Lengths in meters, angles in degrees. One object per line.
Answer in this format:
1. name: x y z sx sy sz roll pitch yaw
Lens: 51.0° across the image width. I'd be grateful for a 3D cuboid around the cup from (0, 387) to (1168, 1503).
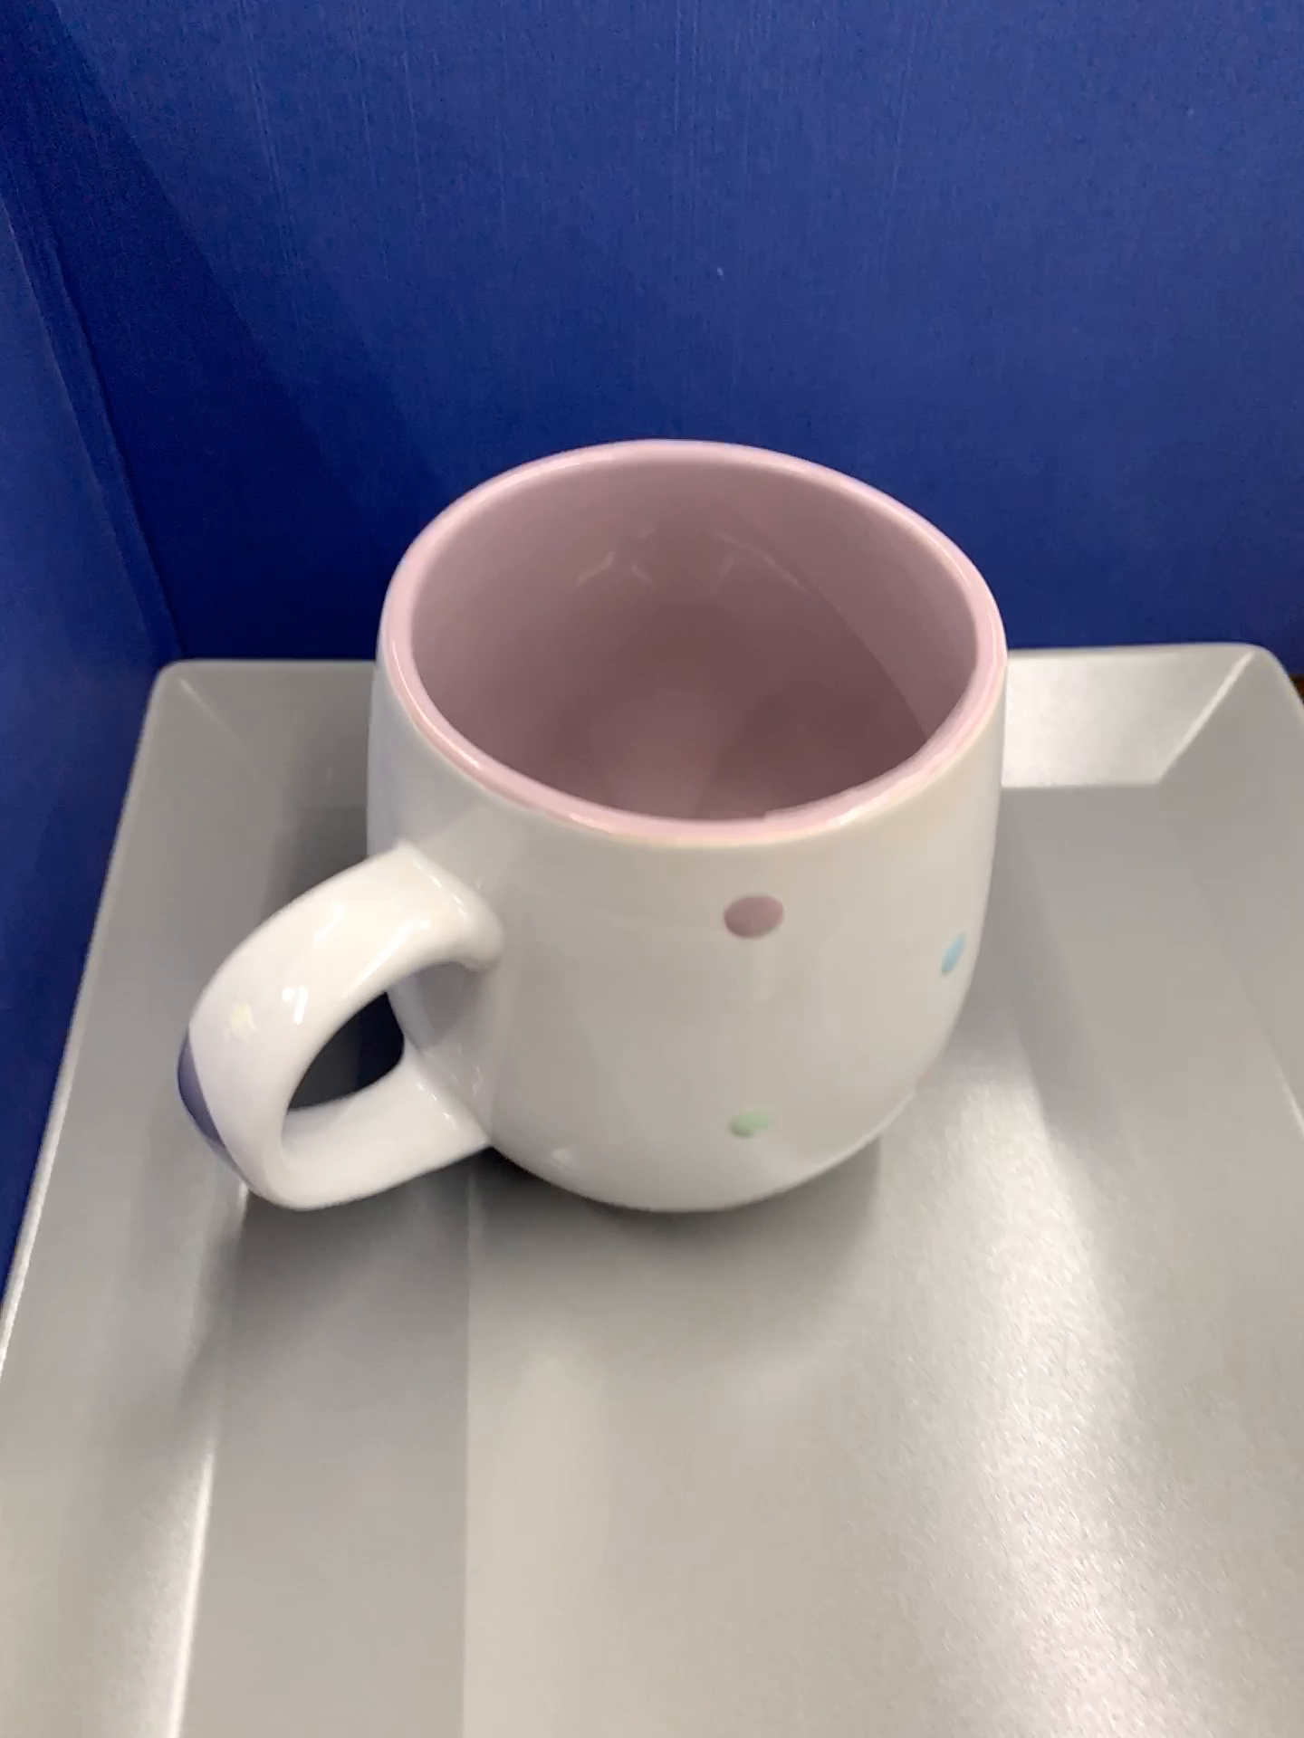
1. cup: -0.010 0.003 0.217 0.130 0.088 0.097 -31 54 -27
